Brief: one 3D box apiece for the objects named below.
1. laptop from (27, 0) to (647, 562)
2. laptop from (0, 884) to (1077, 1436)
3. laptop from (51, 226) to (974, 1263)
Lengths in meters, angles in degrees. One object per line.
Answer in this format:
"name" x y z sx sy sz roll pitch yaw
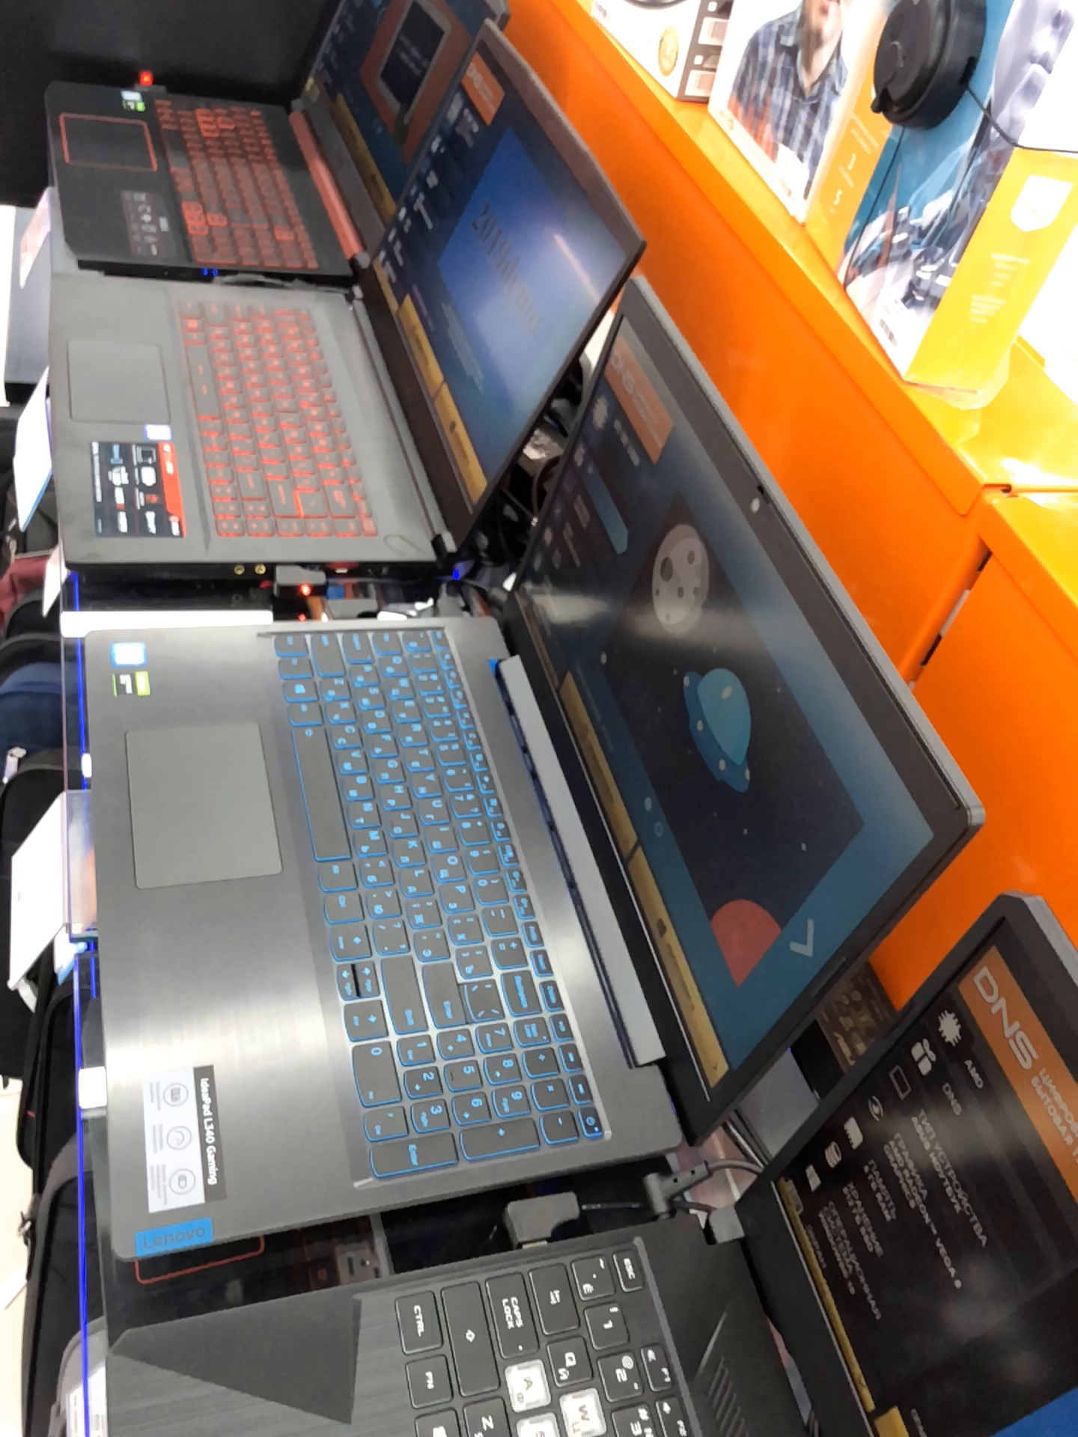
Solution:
"laptop" -0.162 -0.312 0.810 0.319 0.224 0.357 -4 48 -20
"laptop" 0.038 0.269 0.279 0.273 0.244 0.369 -2 47 -19
"laptop" -0.059 -0.011 0.535 0.278 0.235 0.358 -3 48 -19
